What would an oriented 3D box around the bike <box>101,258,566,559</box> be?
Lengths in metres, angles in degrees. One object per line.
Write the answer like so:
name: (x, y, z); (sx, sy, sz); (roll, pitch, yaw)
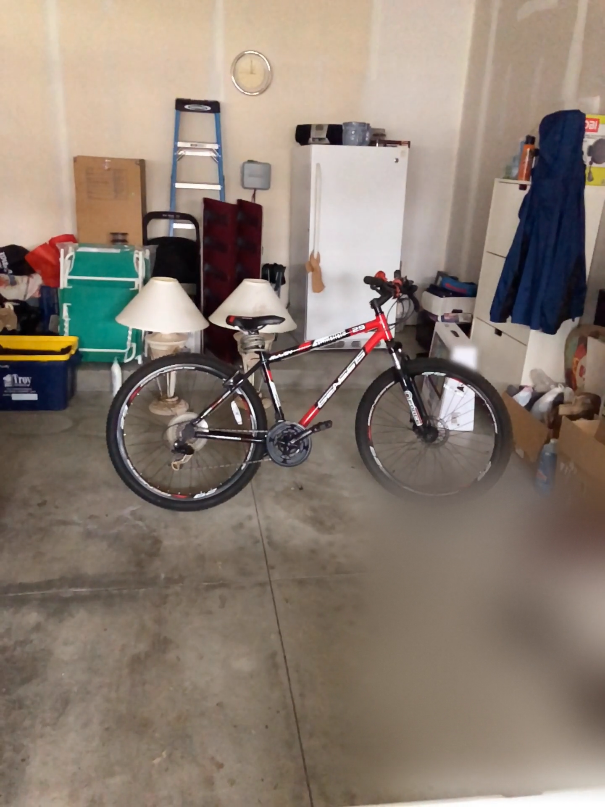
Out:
bike: (0.029, -0.004, 2.819); (1.668, 1.054, 0.591); (2, 19, -1)
